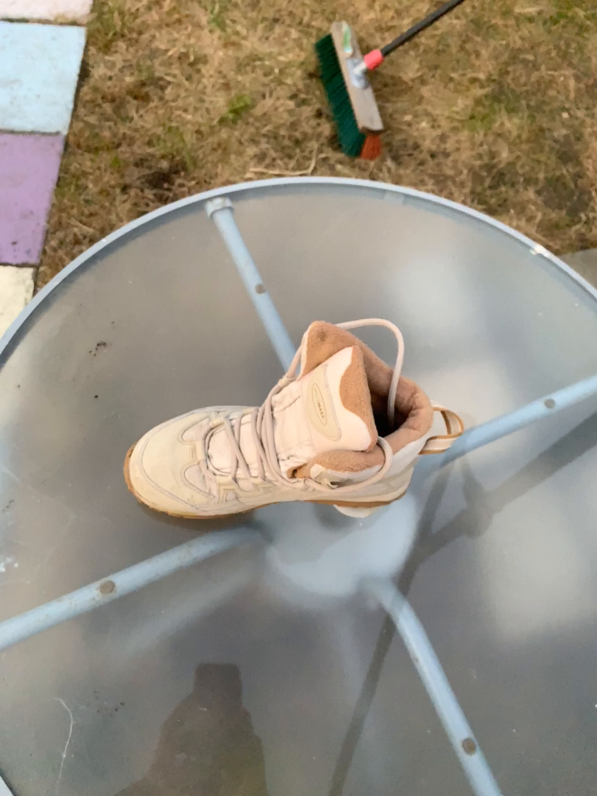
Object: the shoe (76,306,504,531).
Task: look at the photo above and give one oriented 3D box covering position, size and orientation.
[{"bbox_3d":[-0.011,0.031,0.516,0.280,0.199,0.121,1,67,-5],"label":"shoe"}]
